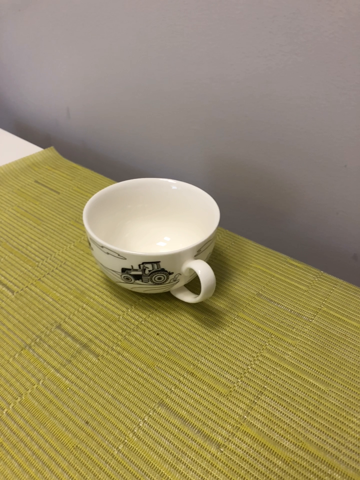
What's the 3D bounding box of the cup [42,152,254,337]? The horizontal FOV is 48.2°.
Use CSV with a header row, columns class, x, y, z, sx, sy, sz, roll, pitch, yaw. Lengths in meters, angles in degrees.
class,x,y,z,sx,sy,sz,roll,pitch,yaw
cup,-0.025,-0.007,0.276,0.088,0.051,0.114,-24,44,-31
